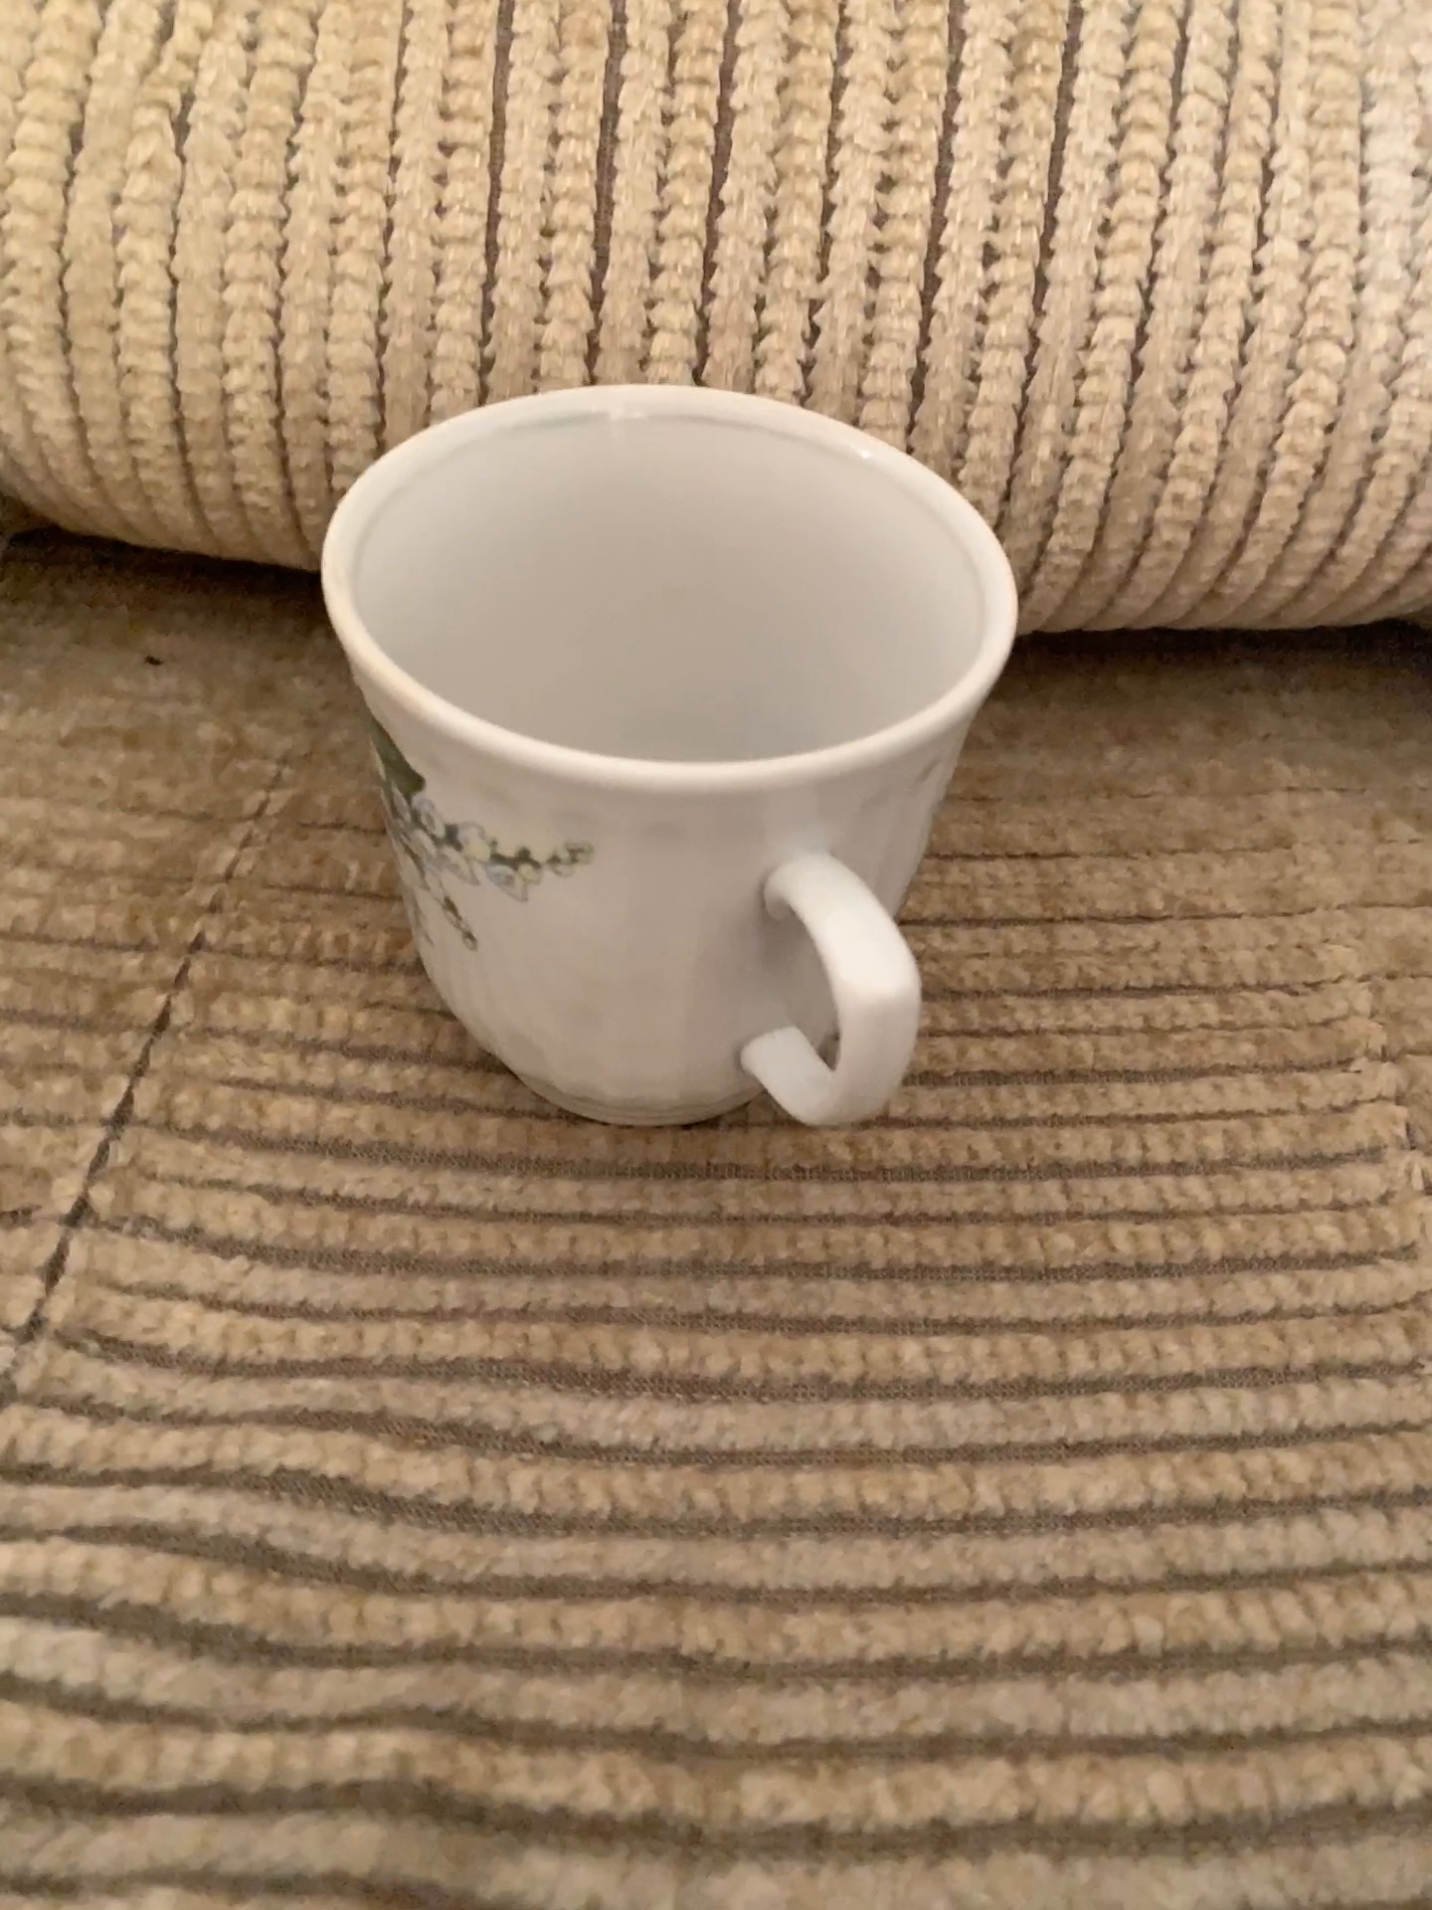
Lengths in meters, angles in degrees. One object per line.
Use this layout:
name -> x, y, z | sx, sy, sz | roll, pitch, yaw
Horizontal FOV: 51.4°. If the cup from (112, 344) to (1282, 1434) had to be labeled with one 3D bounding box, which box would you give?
cup -> -0.009, -0.021, 0.206 | 0.096, 0.077, 0.113 | -24, 47, -29
